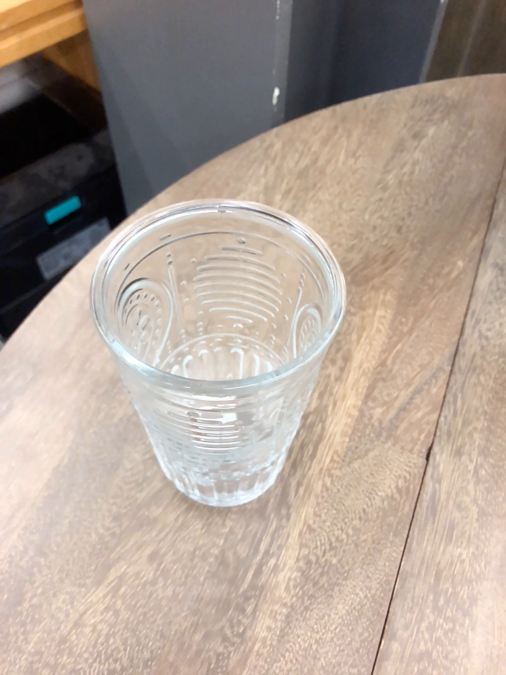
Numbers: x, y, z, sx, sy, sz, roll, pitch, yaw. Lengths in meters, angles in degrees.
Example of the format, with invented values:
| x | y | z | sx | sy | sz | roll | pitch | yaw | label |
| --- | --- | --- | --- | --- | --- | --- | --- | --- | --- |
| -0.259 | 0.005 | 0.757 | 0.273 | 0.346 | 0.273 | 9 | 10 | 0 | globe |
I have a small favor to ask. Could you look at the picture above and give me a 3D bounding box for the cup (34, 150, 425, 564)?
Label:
| x | y | z | sx | sy | sz | roll | pitch | yaw | label |
| --- | --- | --- | --- | --- | --- | --- | --- | --- | --- |
| -0.009 | 0.010 | 0.220 | 0.088 | 0.107 | 0.085 | 0 | 54 | -1 | cup |
